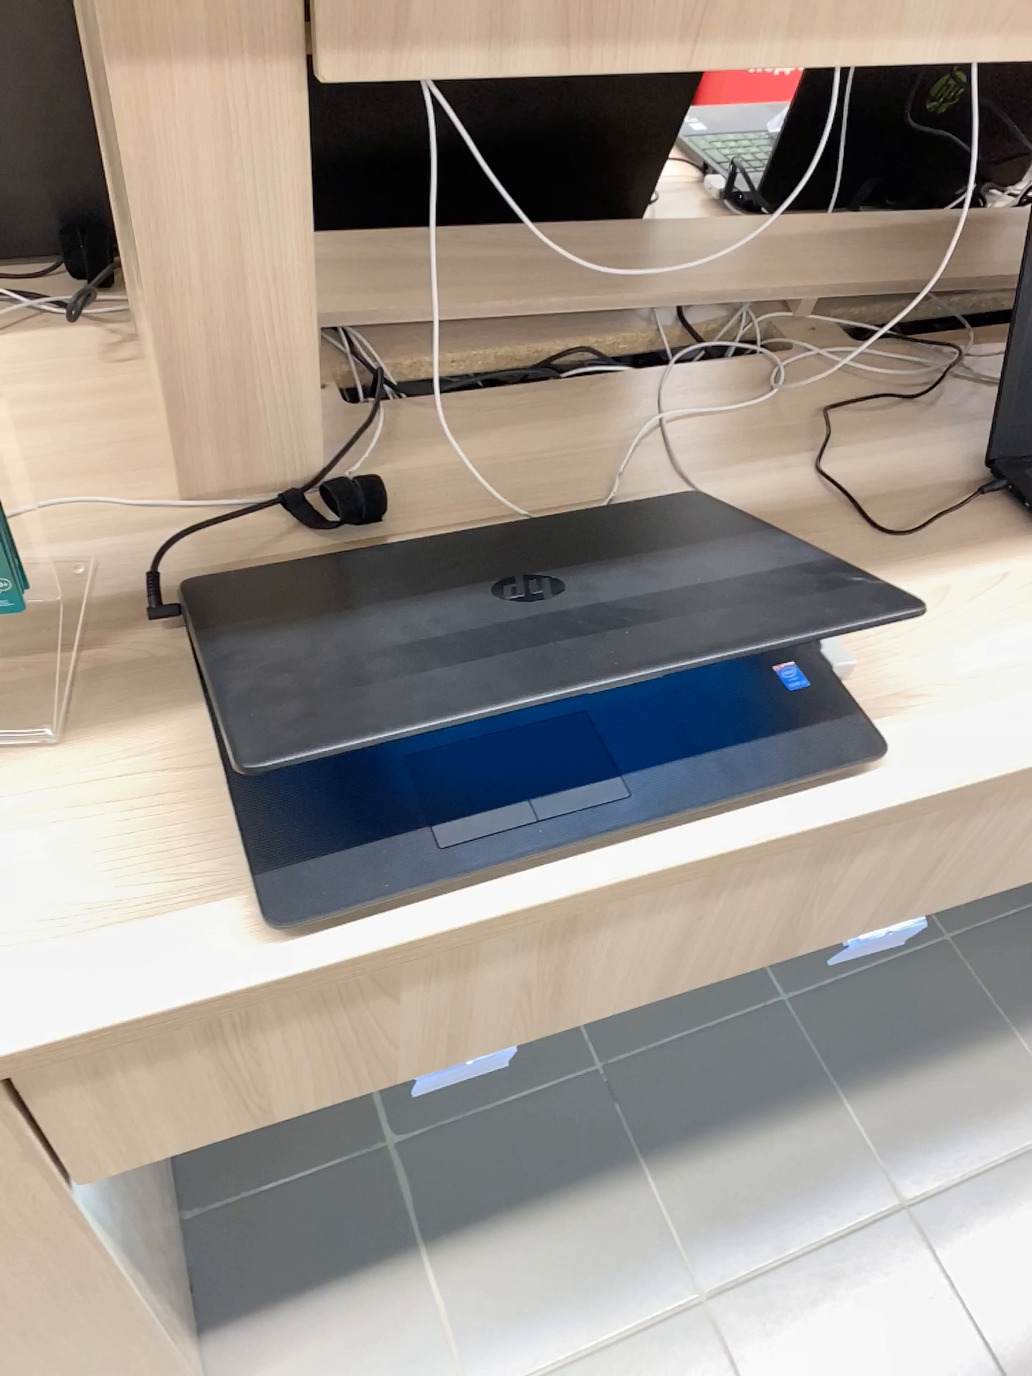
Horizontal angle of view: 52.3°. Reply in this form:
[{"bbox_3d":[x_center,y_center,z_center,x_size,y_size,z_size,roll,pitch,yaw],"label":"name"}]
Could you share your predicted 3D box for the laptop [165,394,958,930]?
[{"bbox_3d":[0.015,-0.041,0.615,0.373,0.093,0.252,-12,51,-19],"label":"laptop"}]
